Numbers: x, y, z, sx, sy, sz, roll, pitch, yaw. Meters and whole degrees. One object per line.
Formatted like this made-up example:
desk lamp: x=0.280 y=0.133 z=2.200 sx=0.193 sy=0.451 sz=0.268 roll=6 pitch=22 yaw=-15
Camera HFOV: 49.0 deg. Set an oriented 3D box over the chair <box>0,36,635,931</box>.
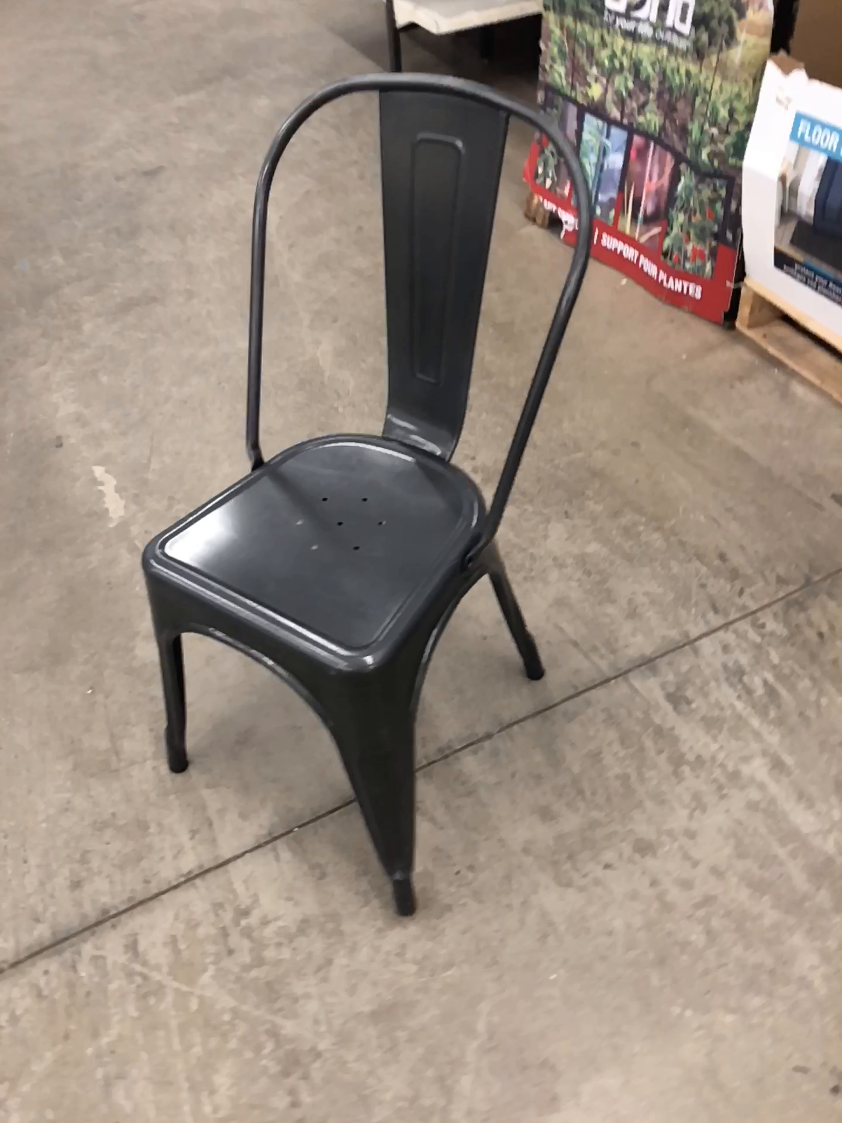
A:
chair: x=-0.115 y=-0.068 z=1.097 sx=0.481 sy=0.817 sz=0.501 roll=23 pitch=52 yaw=25
